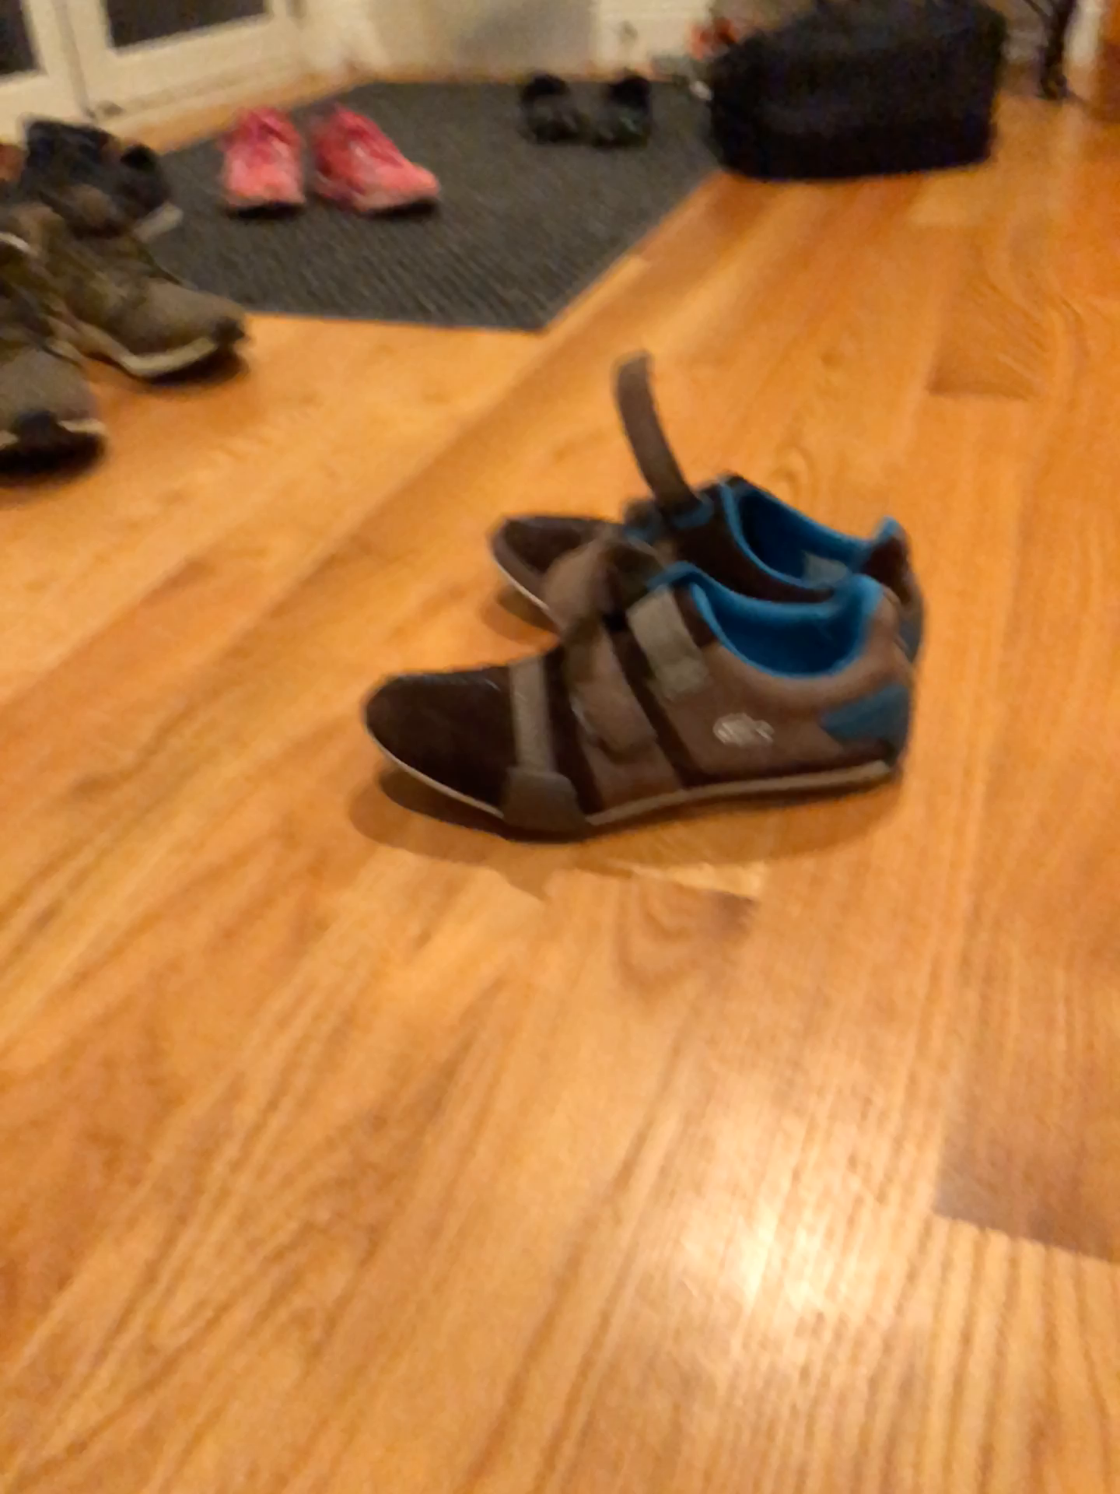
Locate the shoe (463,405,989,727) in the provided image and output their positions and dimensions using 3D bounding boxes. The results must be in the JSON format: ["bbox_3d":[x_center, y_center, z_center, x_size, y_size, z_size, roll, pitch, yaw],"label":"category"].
[{"bbox_3d":[0.085,-0.108,0.677,0.255,0.091,0.102,18,40,27],"label":"shoe"}]

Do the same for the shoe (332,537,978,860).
[{"bbox_3d":[0.038,-0.024,0.557,0.255,0.091,0.103,-3,35,1],"label":"shoe"}]
